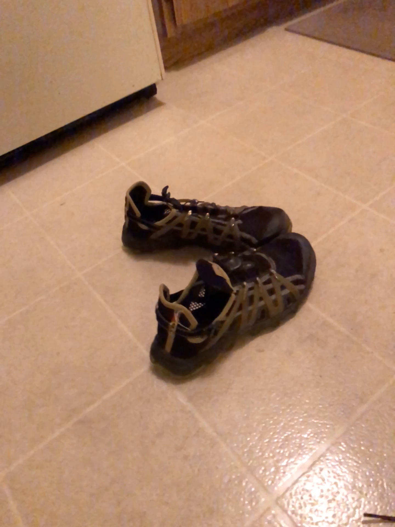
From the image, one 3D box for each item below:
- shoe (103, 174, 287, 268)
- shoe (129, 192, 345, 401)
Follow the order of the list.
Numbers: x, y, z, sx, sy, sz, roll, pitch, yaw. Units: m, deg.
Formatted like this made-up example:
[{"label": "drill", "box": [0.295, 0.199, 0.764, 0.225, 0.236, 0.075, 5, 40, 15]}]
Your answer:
[{"label": "shoe", "box": [0.004, -0.073, 0.721, 0.279, 0.109, 0.100, 2, 47, 13]}, {"label": "shoe", "box": [0.064, 0.035, 0.608, 0.287, 0.111, 0.109, -36, 51, -22]}]
